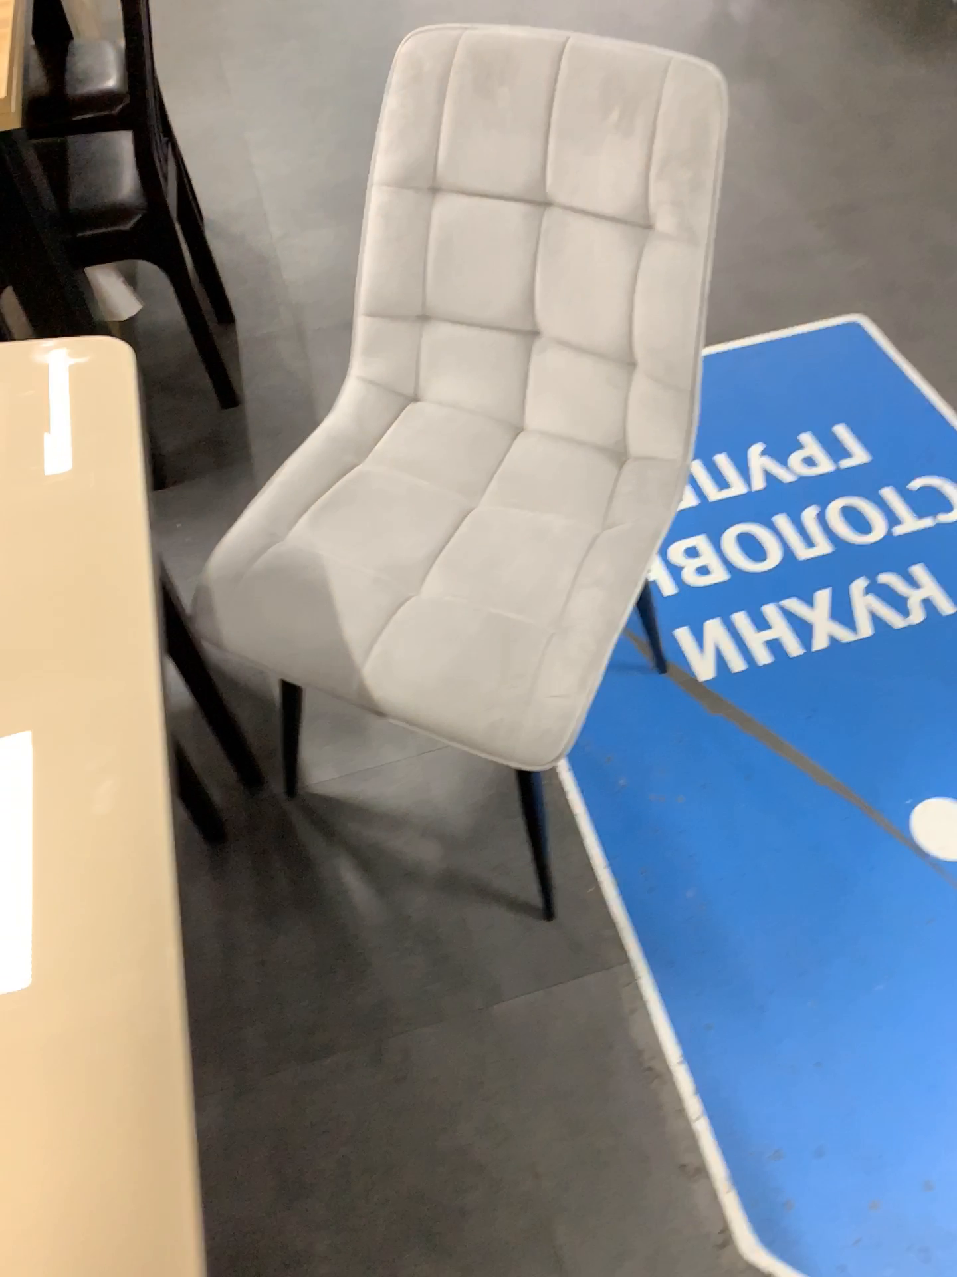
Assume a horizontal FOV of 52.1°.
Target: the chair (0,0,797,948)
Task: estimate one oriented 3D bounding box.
[{"bbox_3d":[-0.016,-0.155,1.232,0.480,0.975,0.602,20,57,19],"label":"chair"}]
